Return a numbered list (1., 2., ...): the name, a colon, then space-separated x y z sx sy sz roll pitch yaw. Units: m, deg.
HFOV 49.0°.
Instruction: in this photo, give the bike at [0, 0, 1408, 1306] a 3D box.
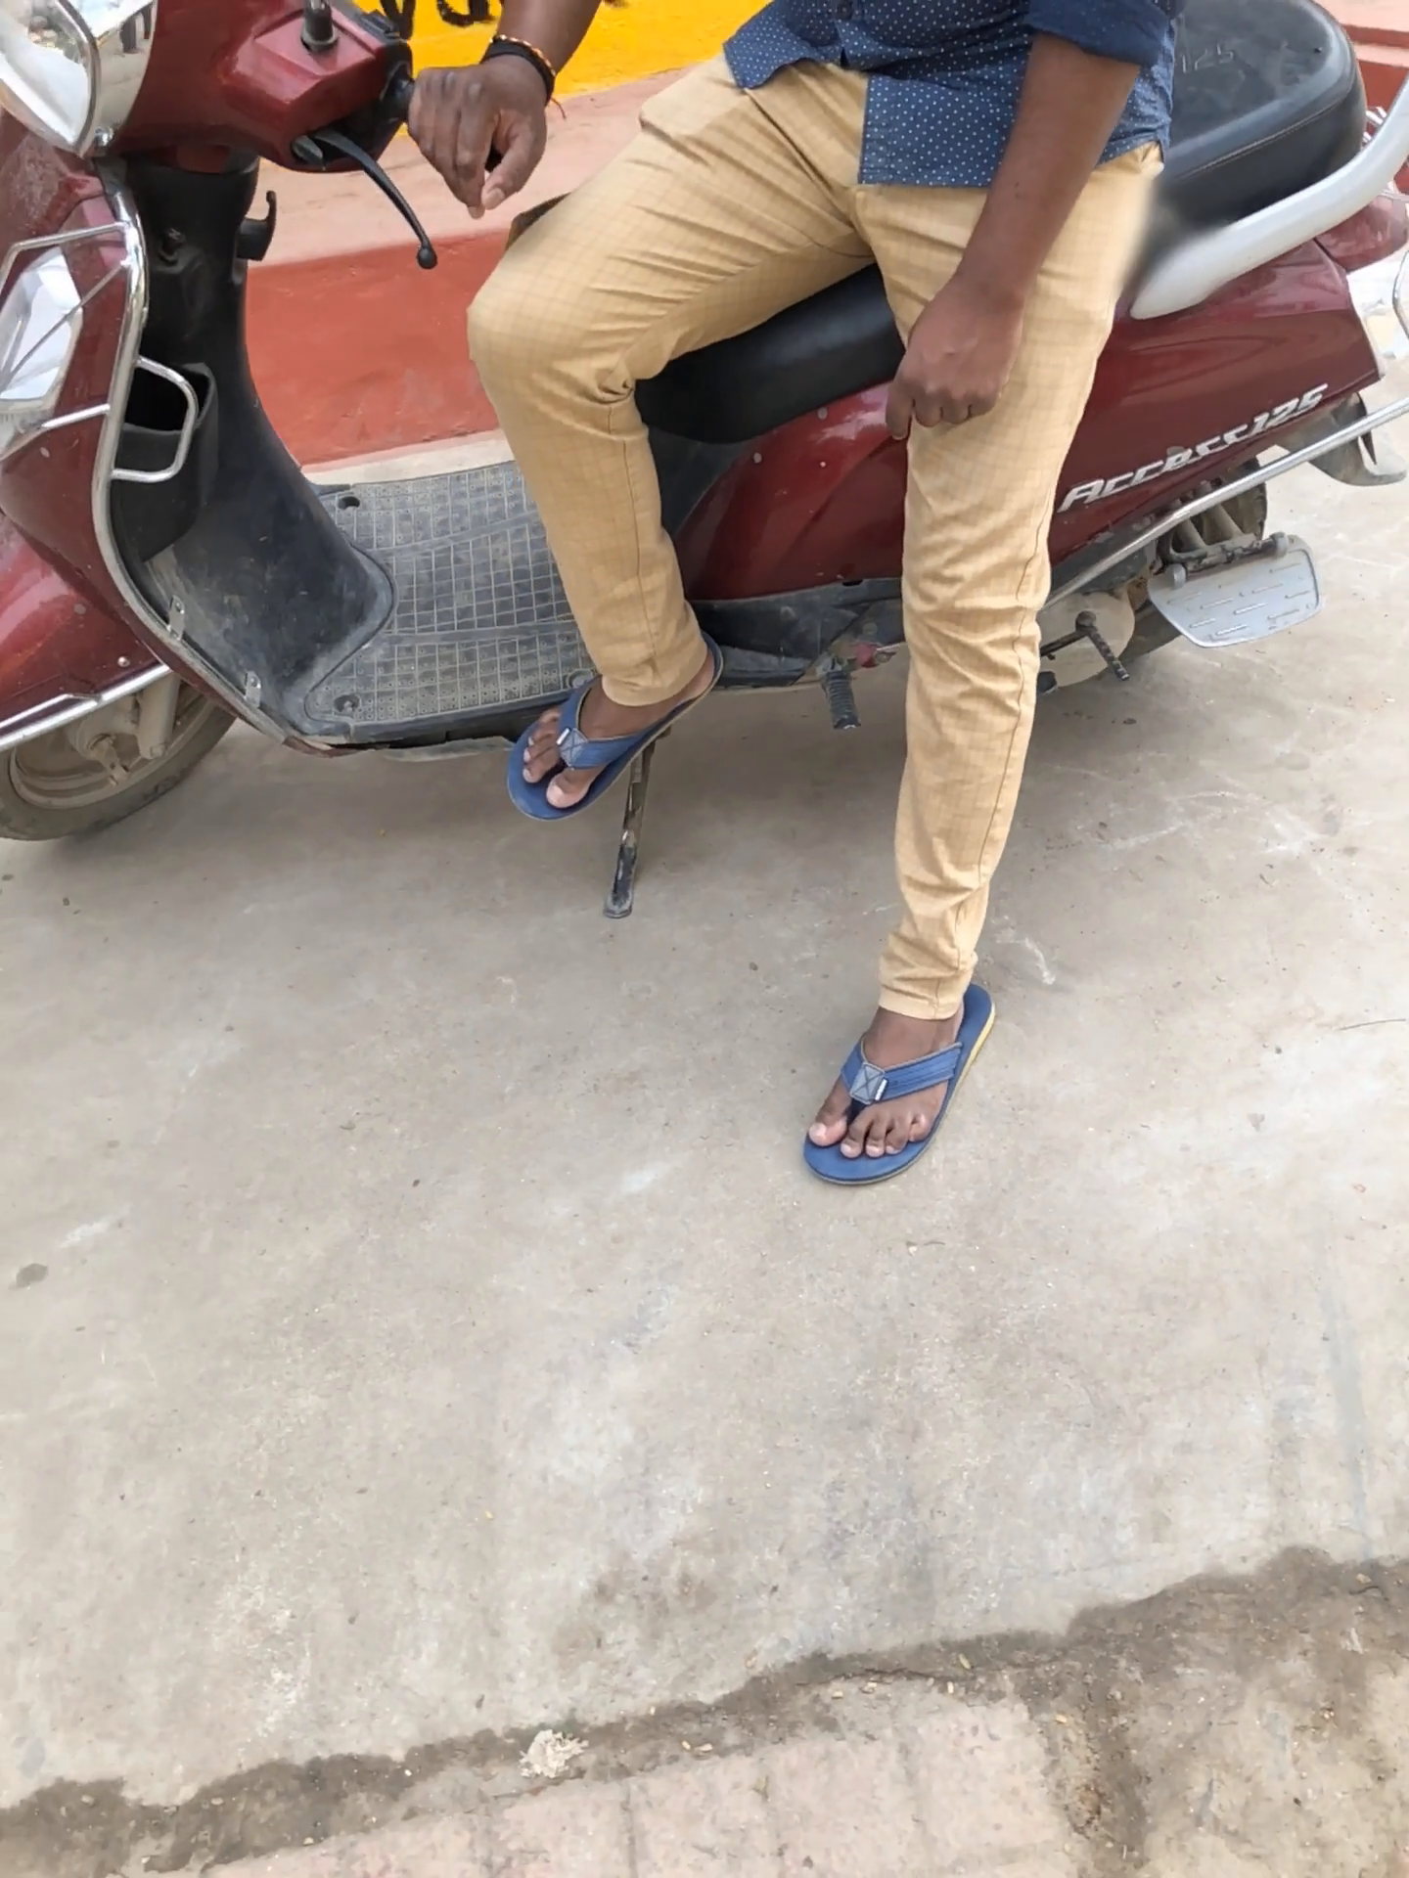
1. bike: -0.178 -0.441 1.400 1.378 1.087 0.631 -14 42 -7
